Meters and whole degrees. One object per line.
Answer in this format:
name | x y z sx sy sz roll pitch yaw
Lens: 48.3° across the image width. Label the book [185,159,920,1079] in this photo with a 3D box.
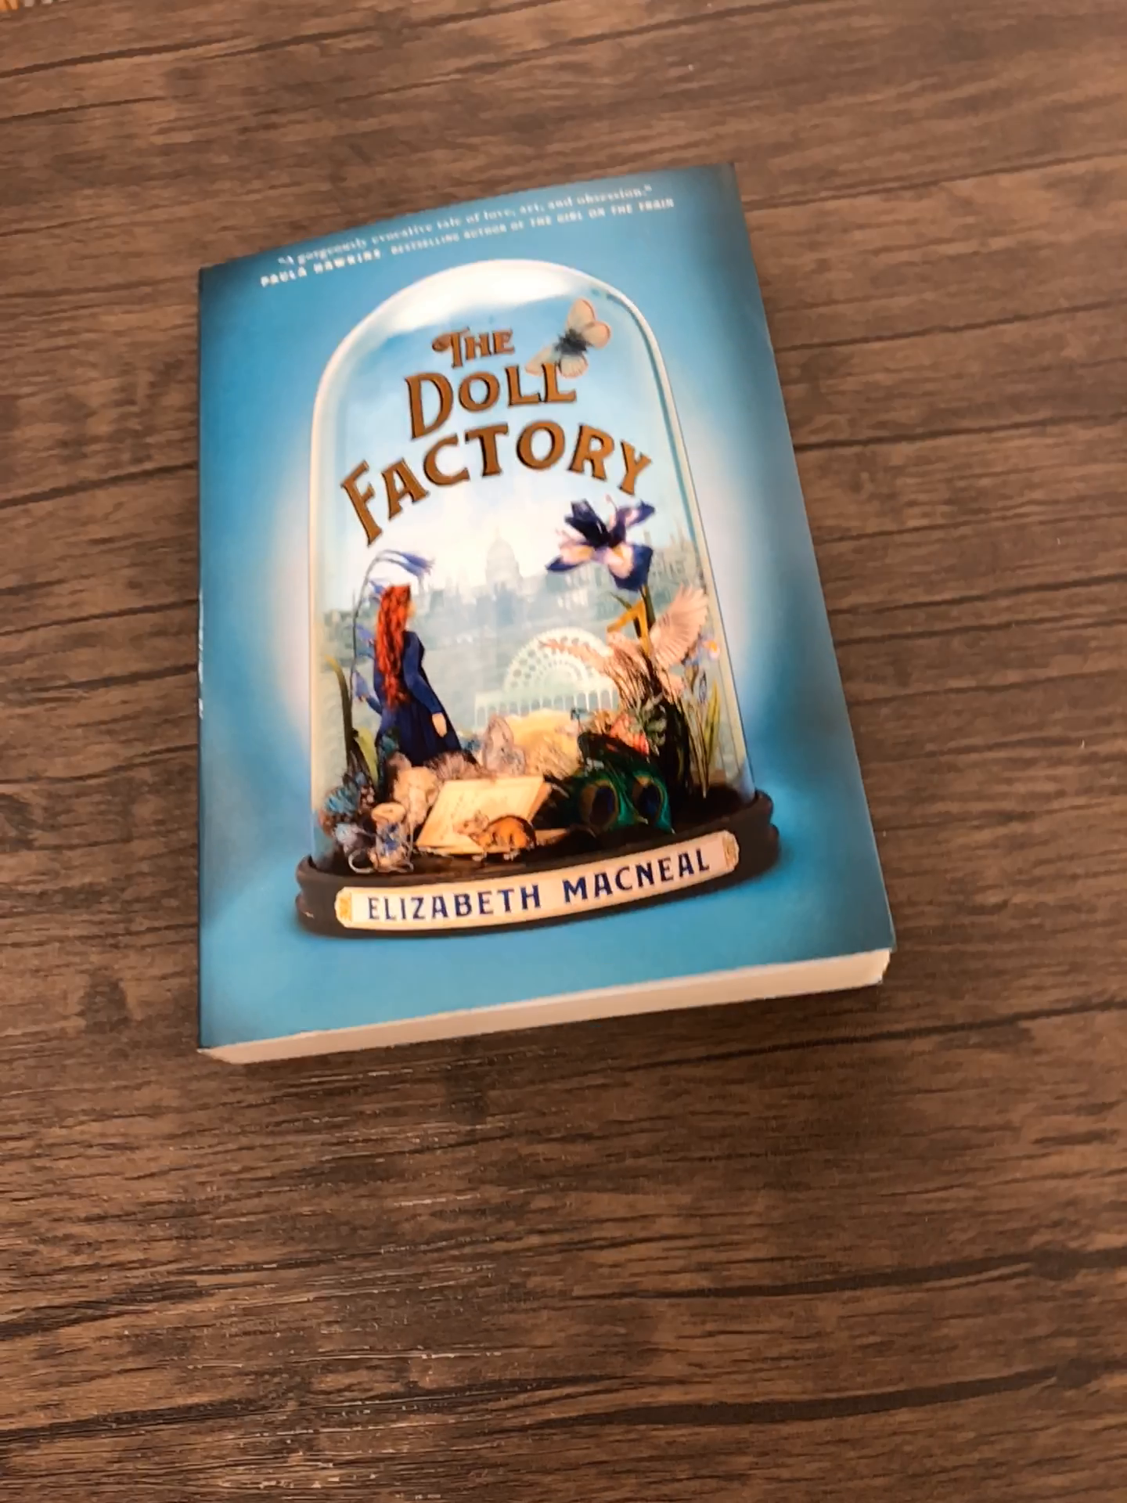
book | -0.015 -0.043 0.335 0.160 0.040 0.230 -8 68 2
